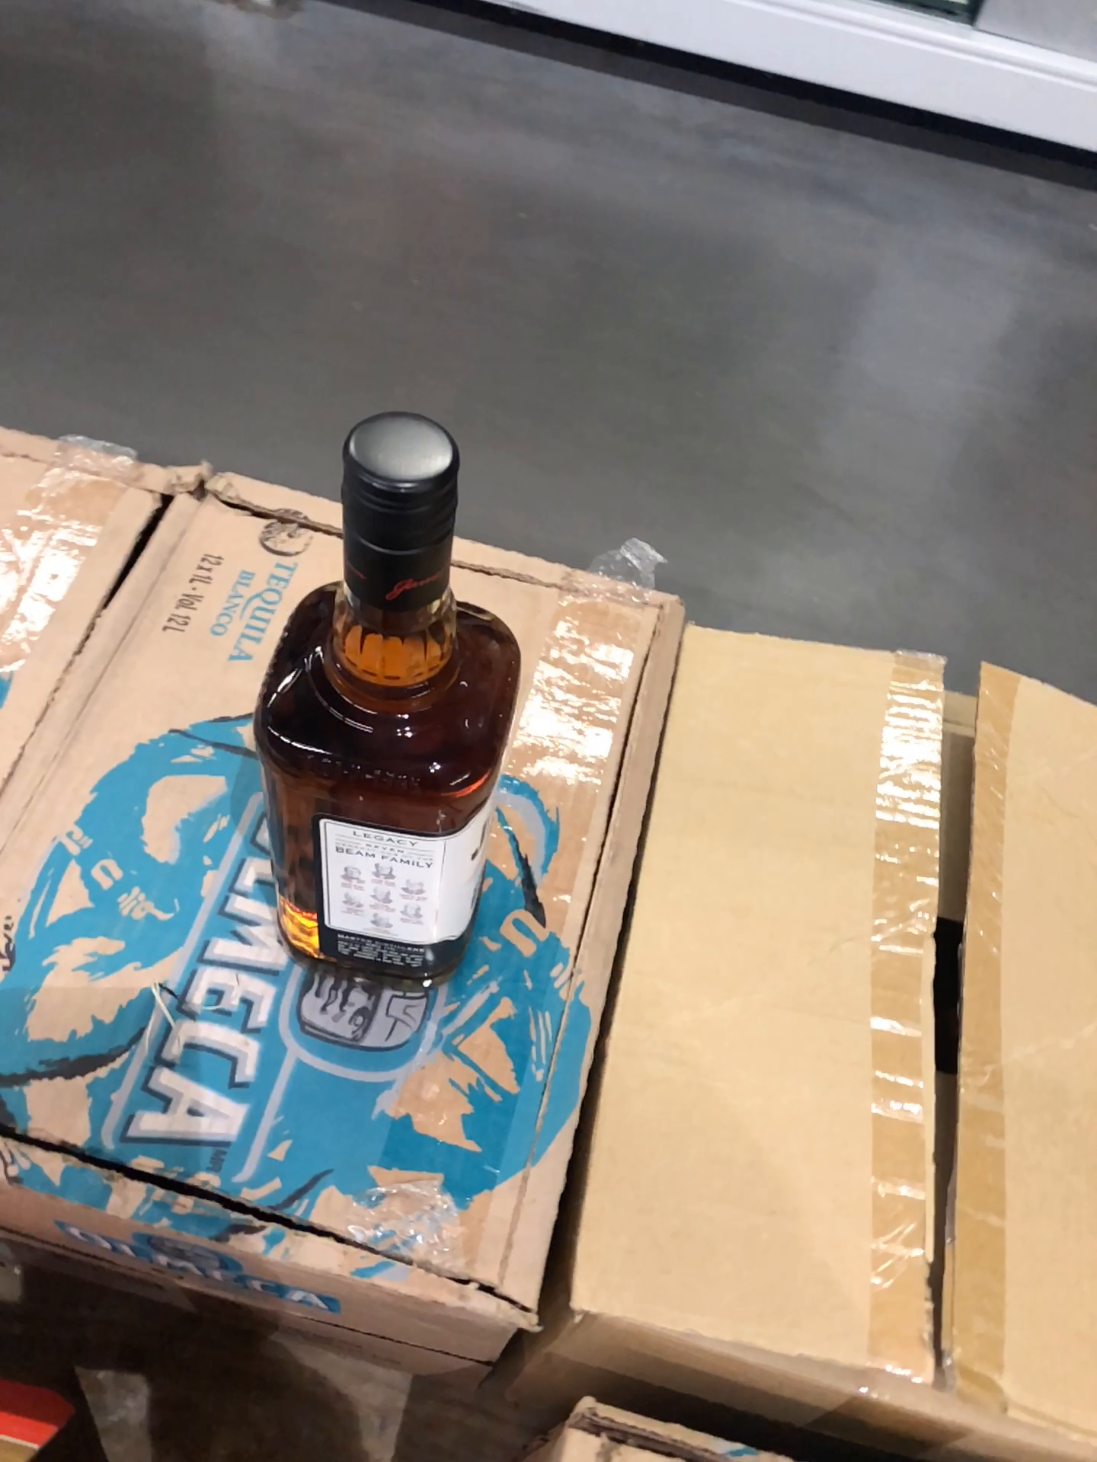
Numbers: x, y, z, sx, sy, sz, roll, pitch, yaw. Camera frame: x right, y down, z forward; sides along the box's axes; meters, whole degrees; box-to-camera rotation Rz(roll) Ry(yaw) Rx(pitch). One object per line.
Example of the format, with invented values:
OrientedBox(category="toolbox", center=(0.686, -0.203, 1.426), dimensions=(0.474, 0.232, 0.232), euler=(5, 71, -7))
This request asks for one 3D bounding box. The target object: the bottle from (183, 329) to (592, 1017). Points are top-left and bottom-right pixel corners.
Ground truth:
OrientedBox(category="bottle", center=(-0.053, 0.003, 0.424), dimensions=(0.086, 0.259, 0.090), euler=(4, 56, -6))
